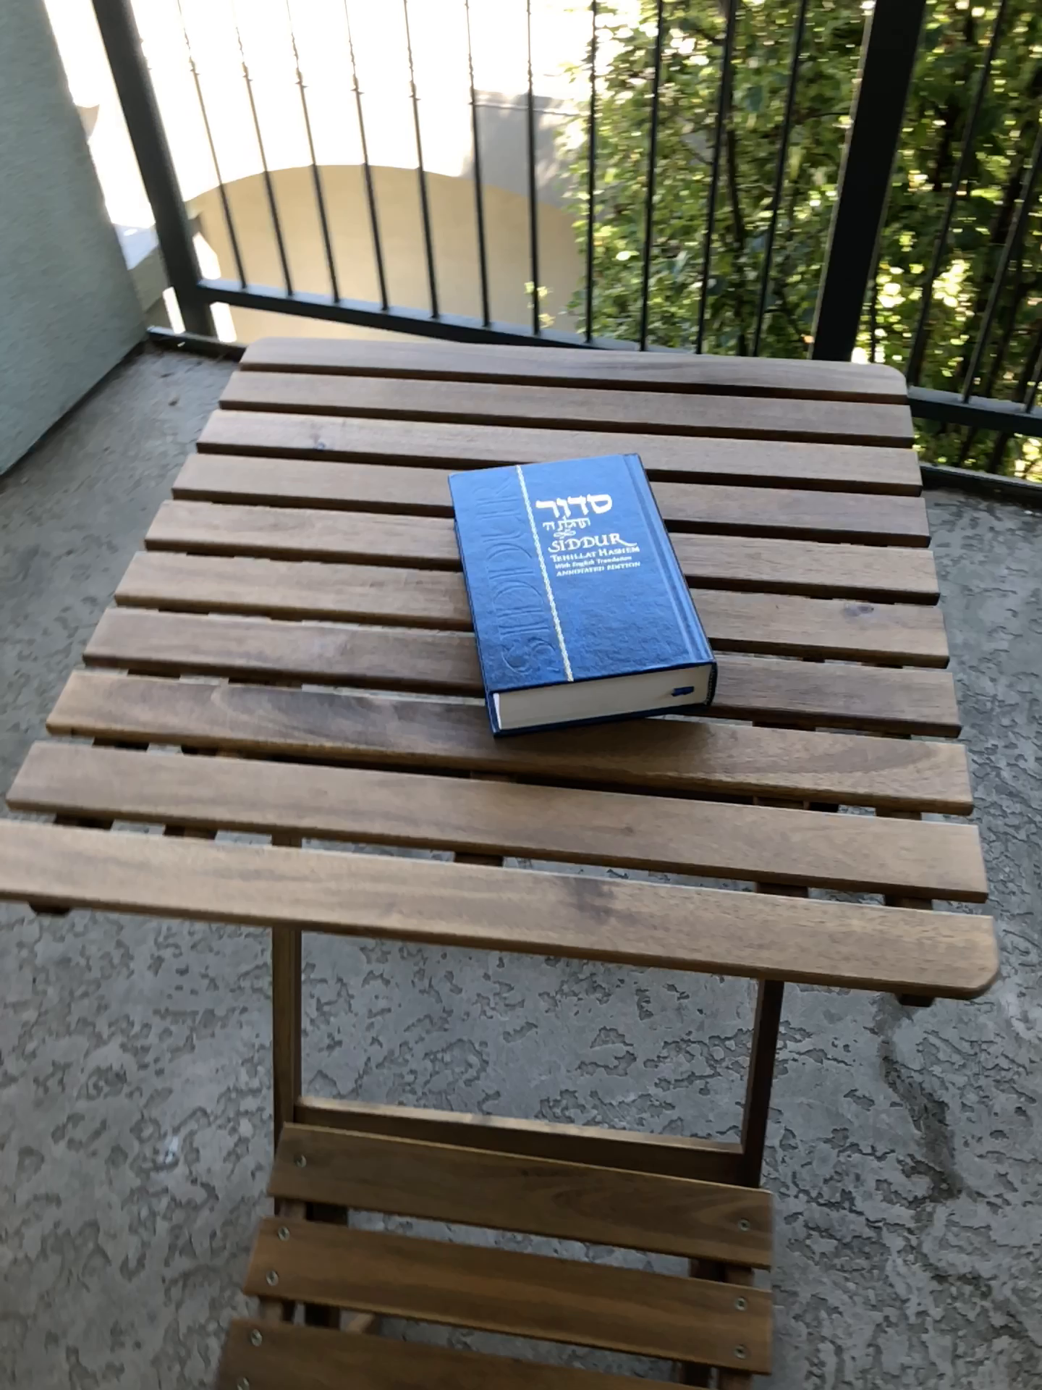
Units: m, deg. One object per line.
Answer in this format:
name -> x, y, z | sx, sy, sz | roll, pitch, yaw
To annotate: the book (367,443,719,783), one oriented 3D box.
book -> 0.005, -0.065, 0.797 | 0.200, 0.070, 0.231 | -8, 49, -5
